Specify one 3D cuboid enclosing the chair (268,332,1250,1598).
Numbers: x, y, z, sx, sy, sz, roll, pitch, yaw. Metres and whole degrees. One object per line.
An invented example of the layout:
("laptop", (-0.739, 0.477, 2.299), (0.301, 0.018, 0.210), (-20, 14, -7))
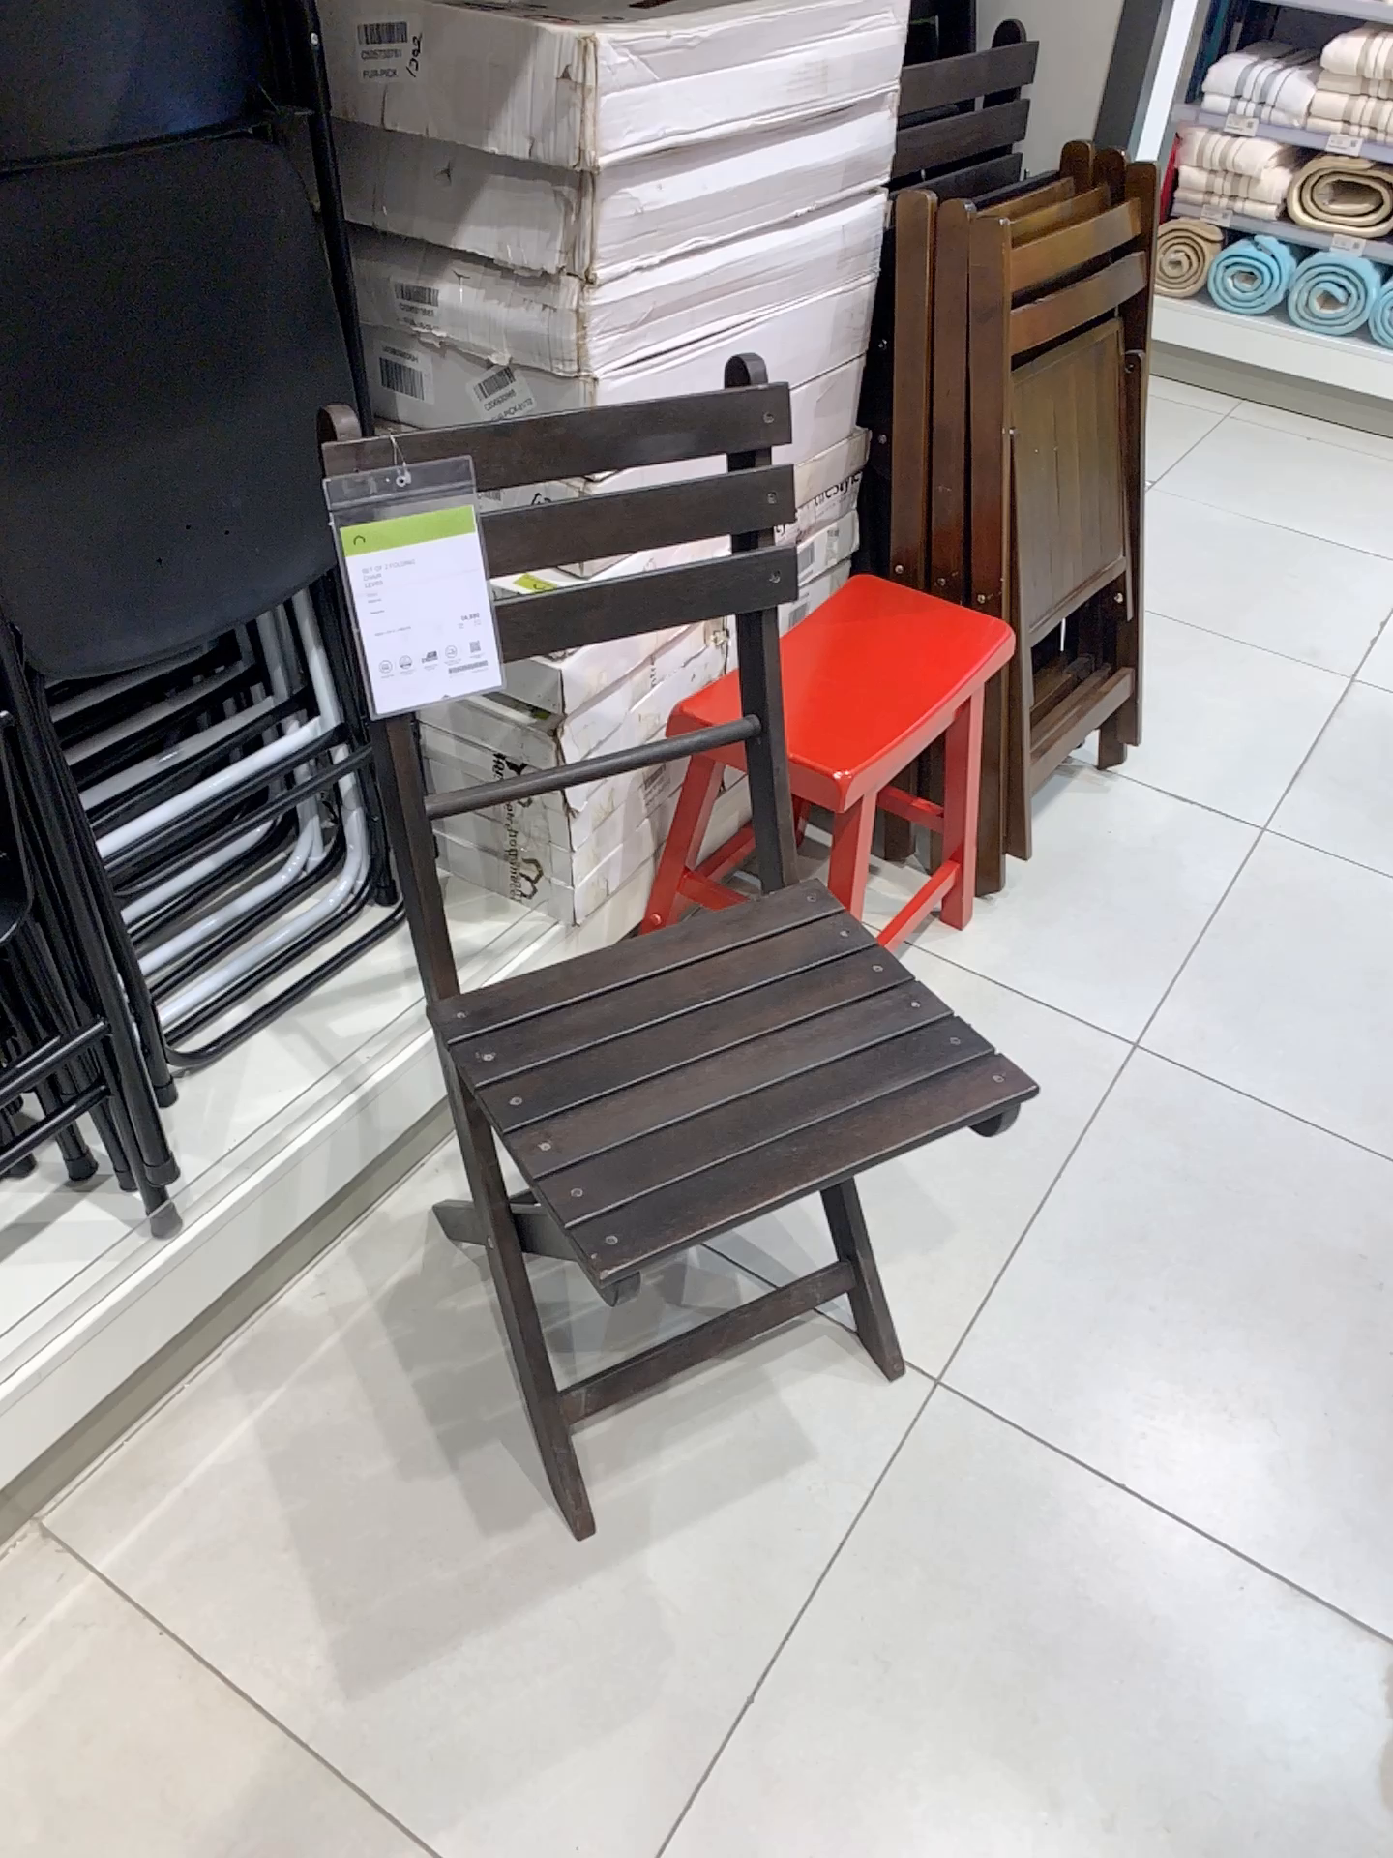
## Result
("chair", (-0.013, 0.029, 1.126), (0.420, 0.797, 0.481), (-17, 44, -26))
